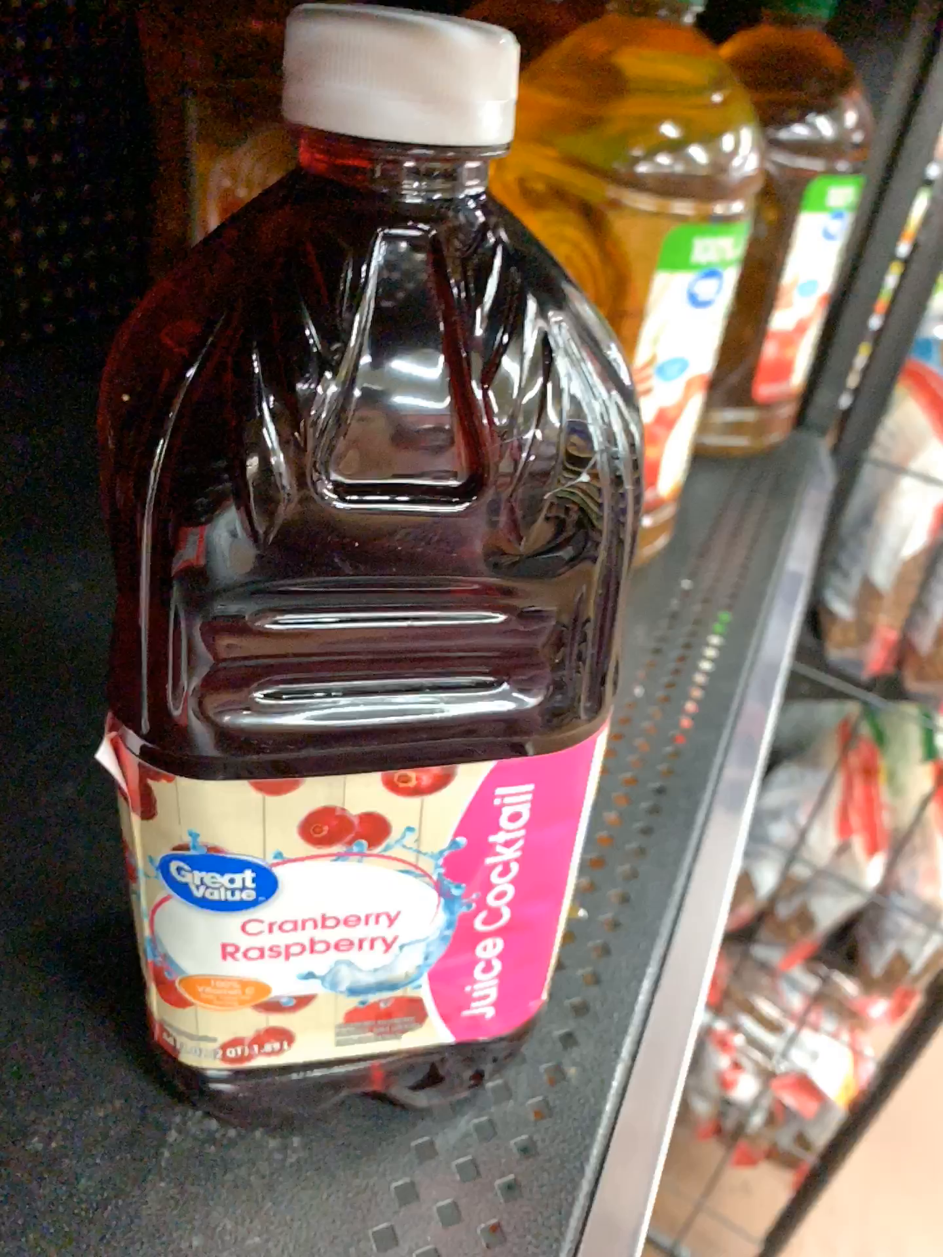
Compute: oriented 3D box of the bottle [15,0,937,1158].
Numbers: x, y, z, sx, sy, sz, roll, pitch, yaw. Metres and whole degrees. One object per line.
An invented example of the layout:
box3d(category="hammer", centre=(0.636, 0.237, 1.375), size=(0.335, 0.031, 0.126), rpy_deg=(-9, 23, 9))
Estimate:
box3d(category="bottle", centre=(-0.021, 0.001, 0.241), size=(0.125, 0.259, 0.101), rpy_deg=(-1, 35, -15))
